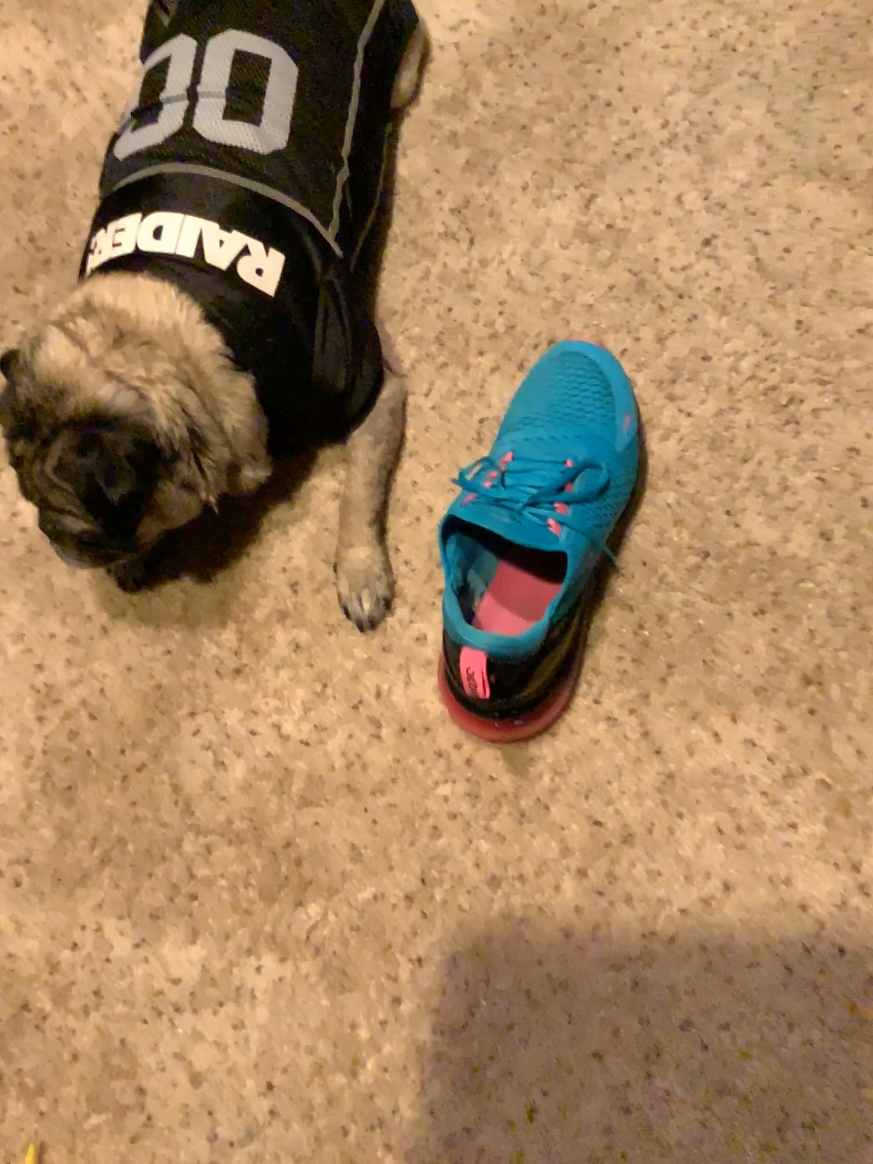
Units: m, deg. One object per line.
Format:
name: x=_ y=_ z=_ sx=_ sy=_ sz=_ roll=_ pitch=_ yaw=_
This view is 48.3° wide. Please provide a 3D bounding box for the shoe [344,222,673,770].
shoe: x=0.063 y=-0.059 z=0.688 sx=0.130 sy=0.140 sz=0.340 roll=12 pitch=75 yaw=14
